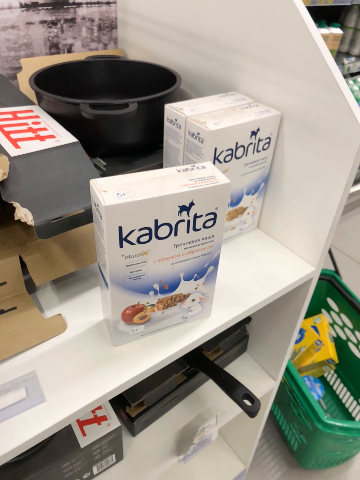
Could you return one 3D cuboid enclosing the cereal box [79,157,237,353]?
[{"bbox_3d":[-0.025,0.021,0.436,0.140,0.199,0.050,-13,41,-21],"label":"cereal box"}]
